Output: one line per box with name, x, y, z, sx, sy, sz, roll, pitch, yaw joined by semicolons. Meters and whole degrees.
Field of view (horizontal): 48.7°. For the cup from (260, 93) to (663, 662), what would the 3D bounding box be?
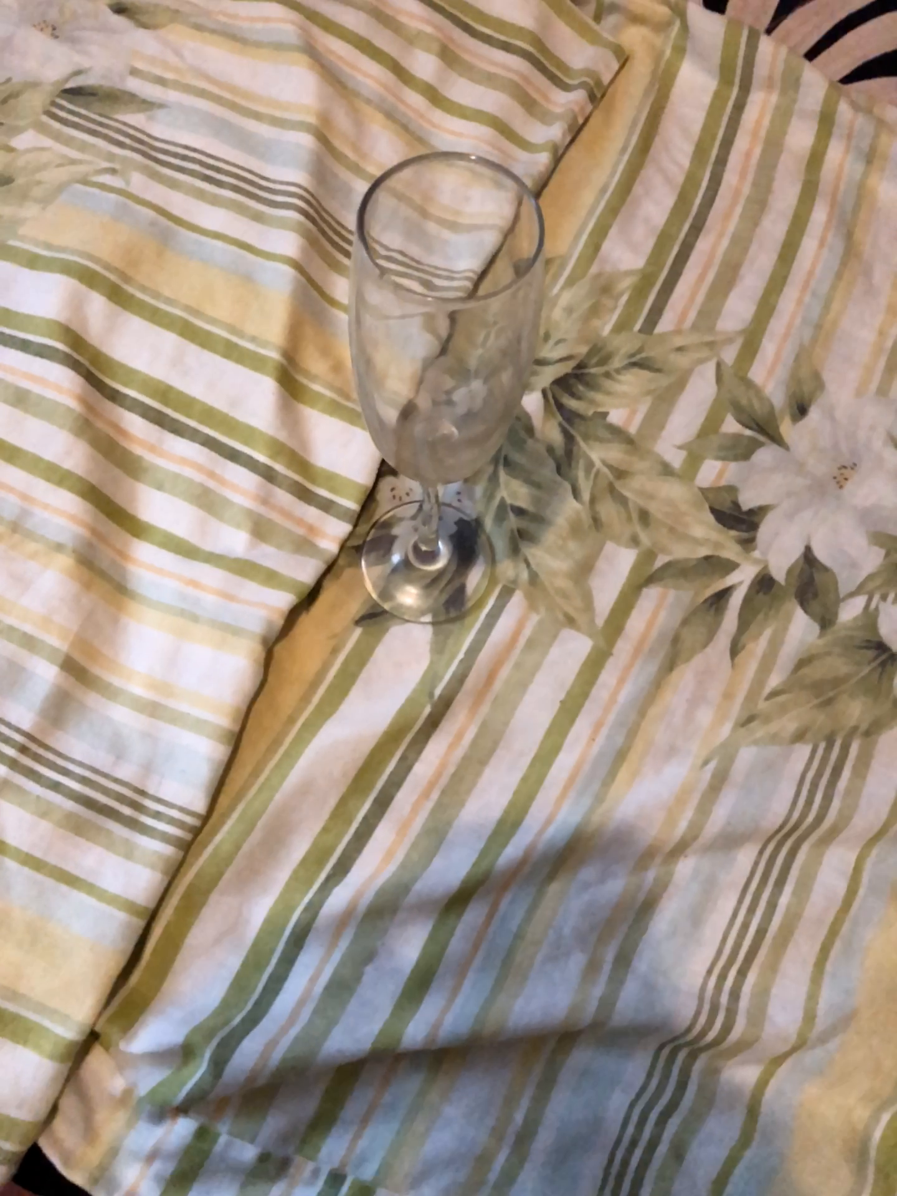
cup;-0.003;-0.058;0.369;0.082;0.218;0.071;43;73;11
